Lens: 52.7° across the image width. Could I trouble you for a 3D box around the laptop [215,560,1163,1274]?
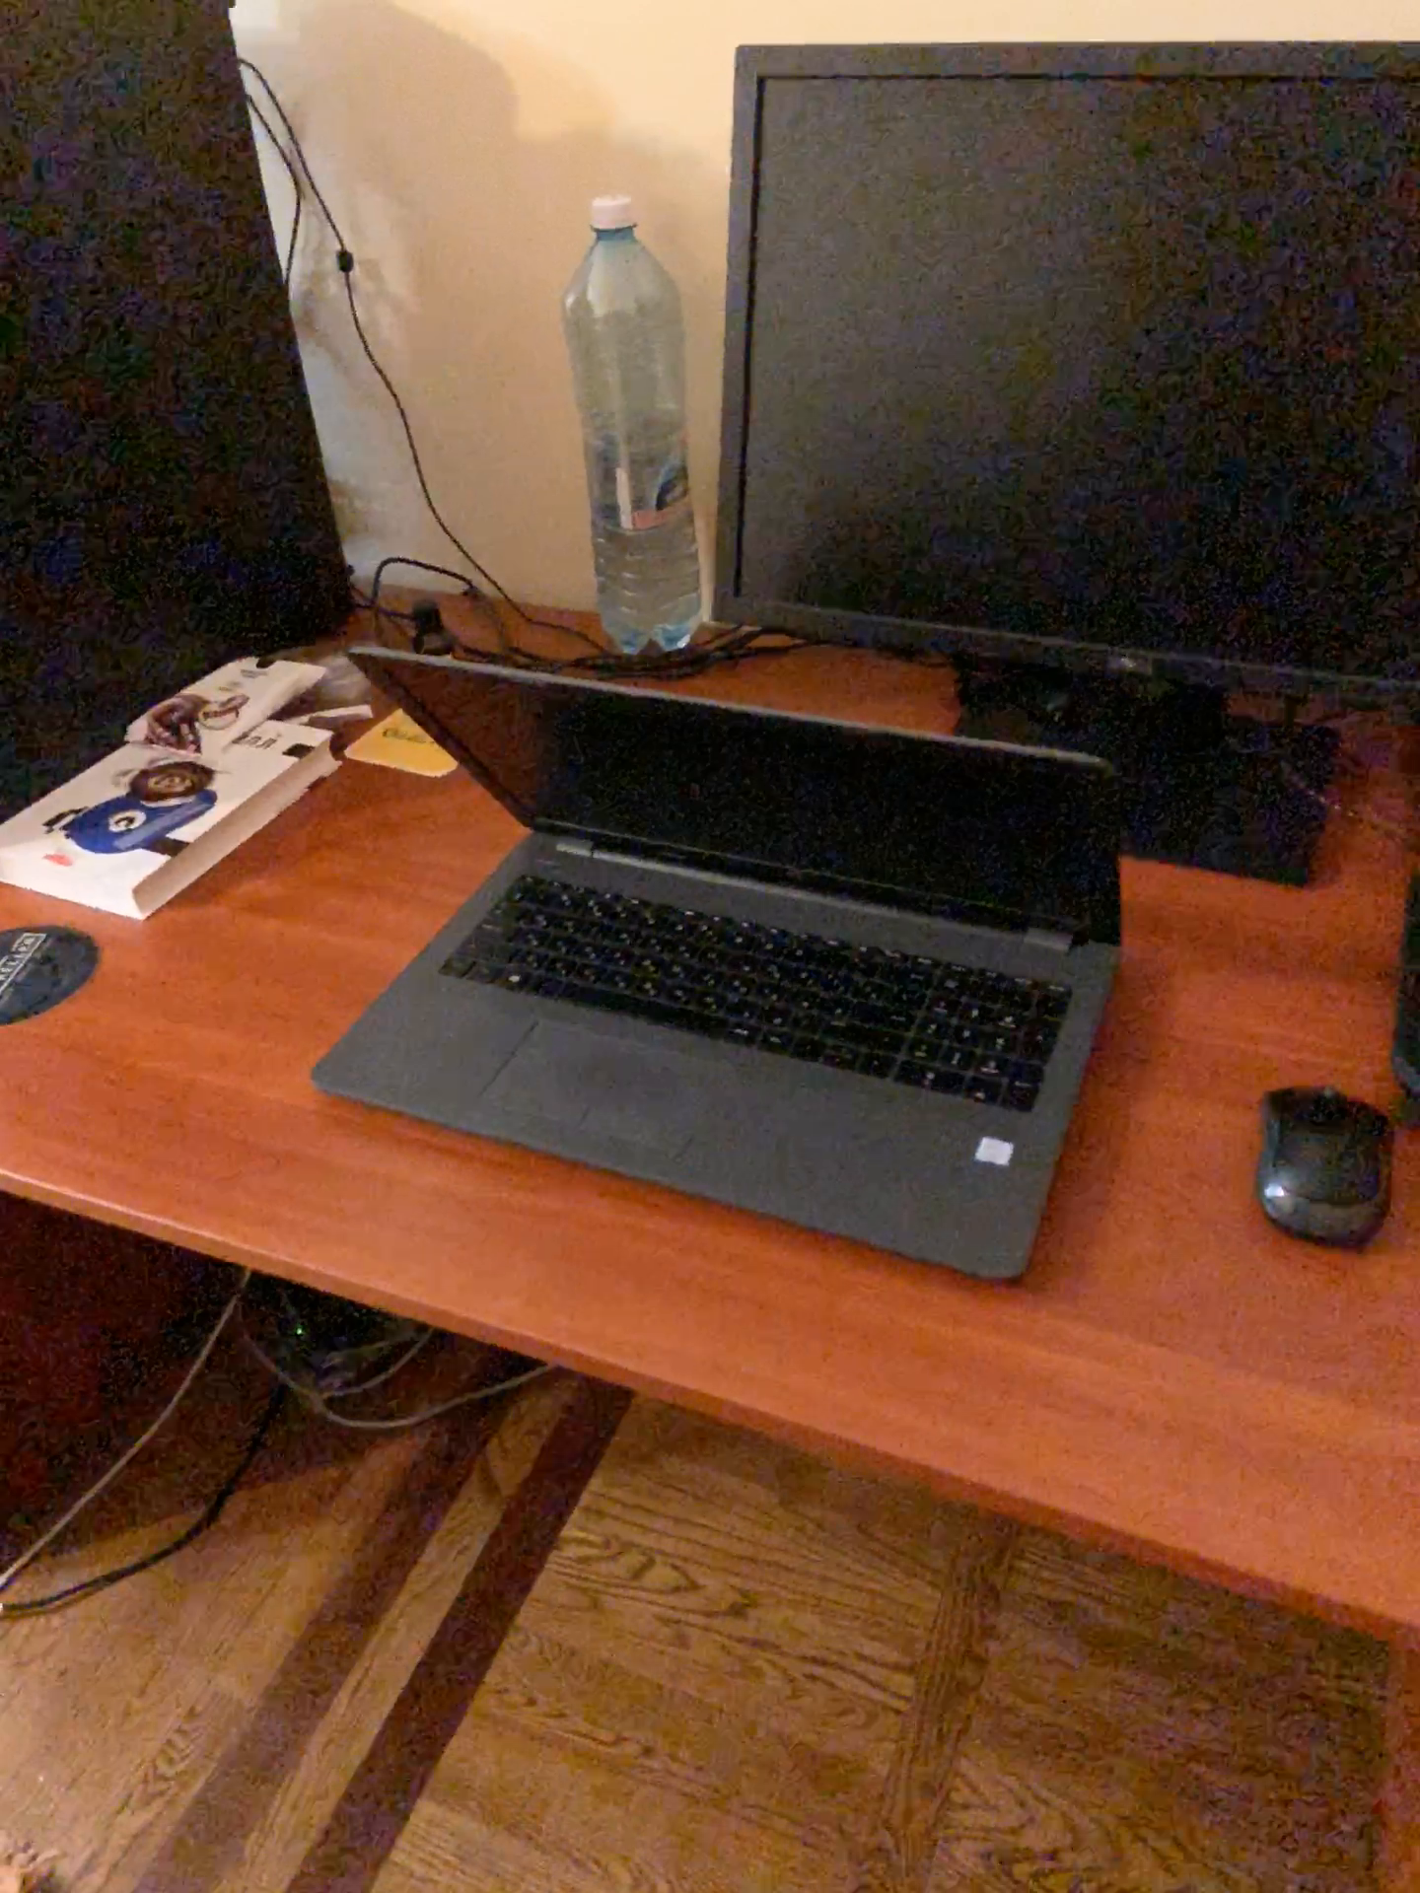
[{"bbox_3d":[0.000,-0.040,0.737,0.385,0.193,0.246,12,40,21],"label":"laptop"}]
